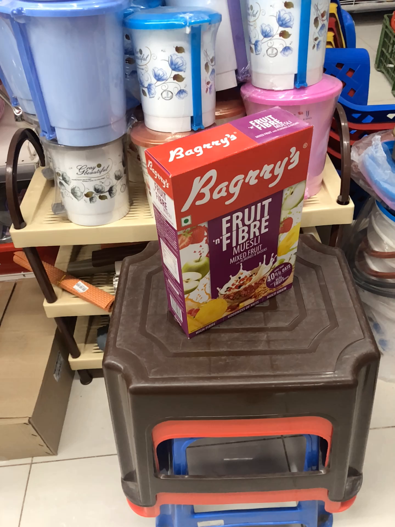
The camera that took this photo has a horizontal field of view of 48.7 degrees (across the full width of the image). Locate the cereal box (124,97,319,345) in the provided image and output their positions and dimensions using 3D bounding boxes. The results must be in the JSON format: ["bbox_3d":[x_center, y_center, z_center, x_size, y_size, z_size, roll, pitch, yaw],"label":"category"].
[{"bbox_3d":[0.036,-0.045,0.551,0.200,0.259,0.070,-24,45,-19],"label":"cereal box"}]
